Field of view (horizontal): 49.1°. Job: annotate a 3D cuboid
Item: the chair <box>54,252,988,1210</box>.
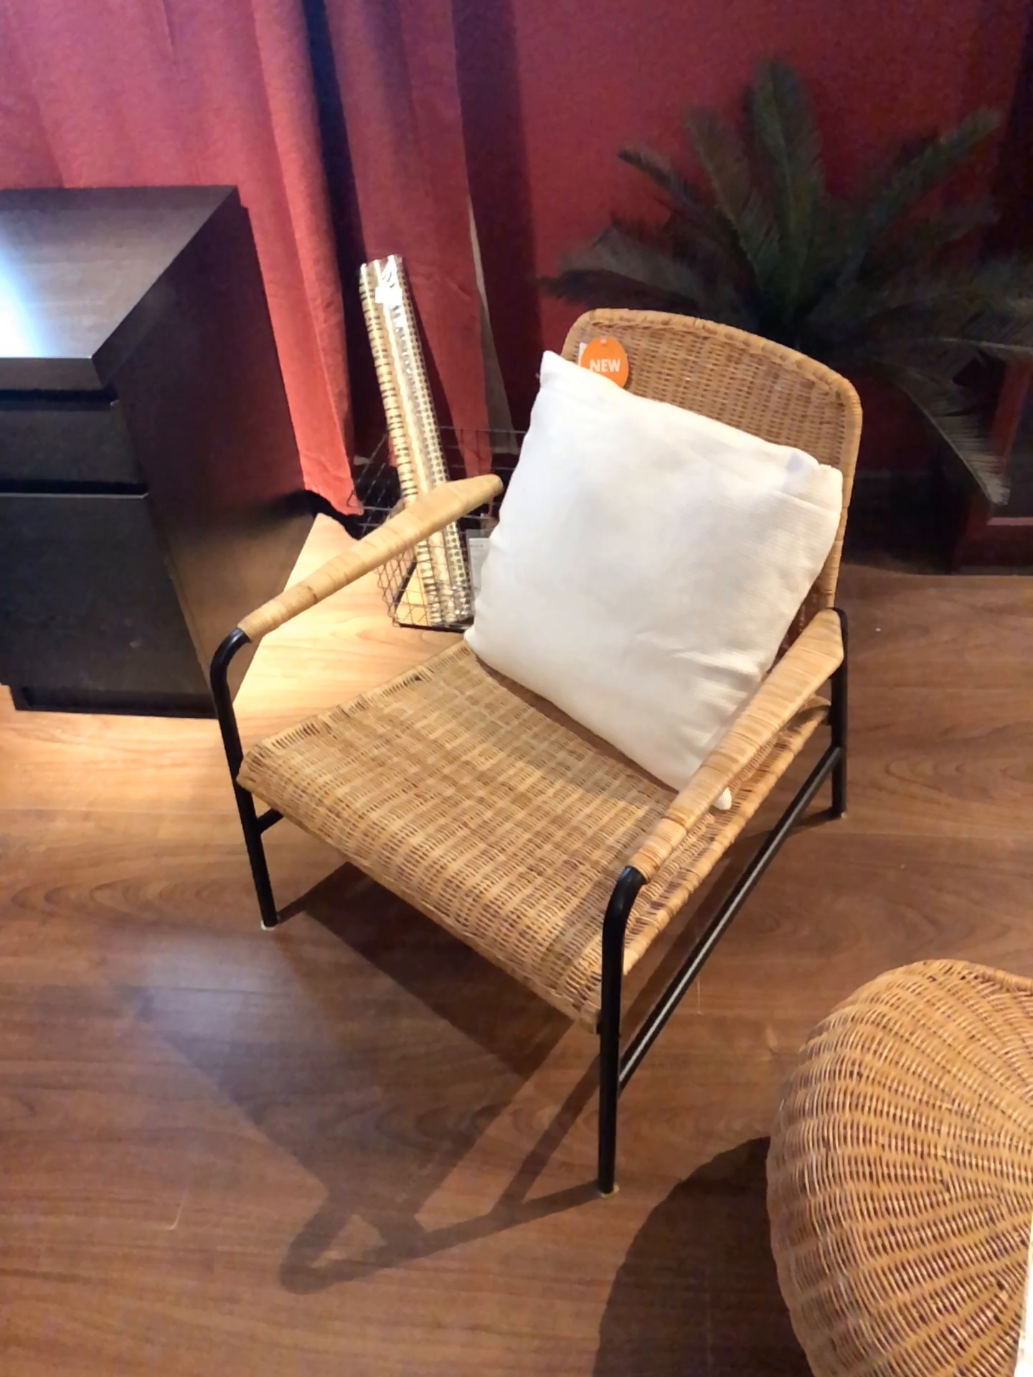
[{"bbox_3d":[0.031,0.001,1.368,0.672,0.705,0.662,27,50,30],"label":"chair"}]
